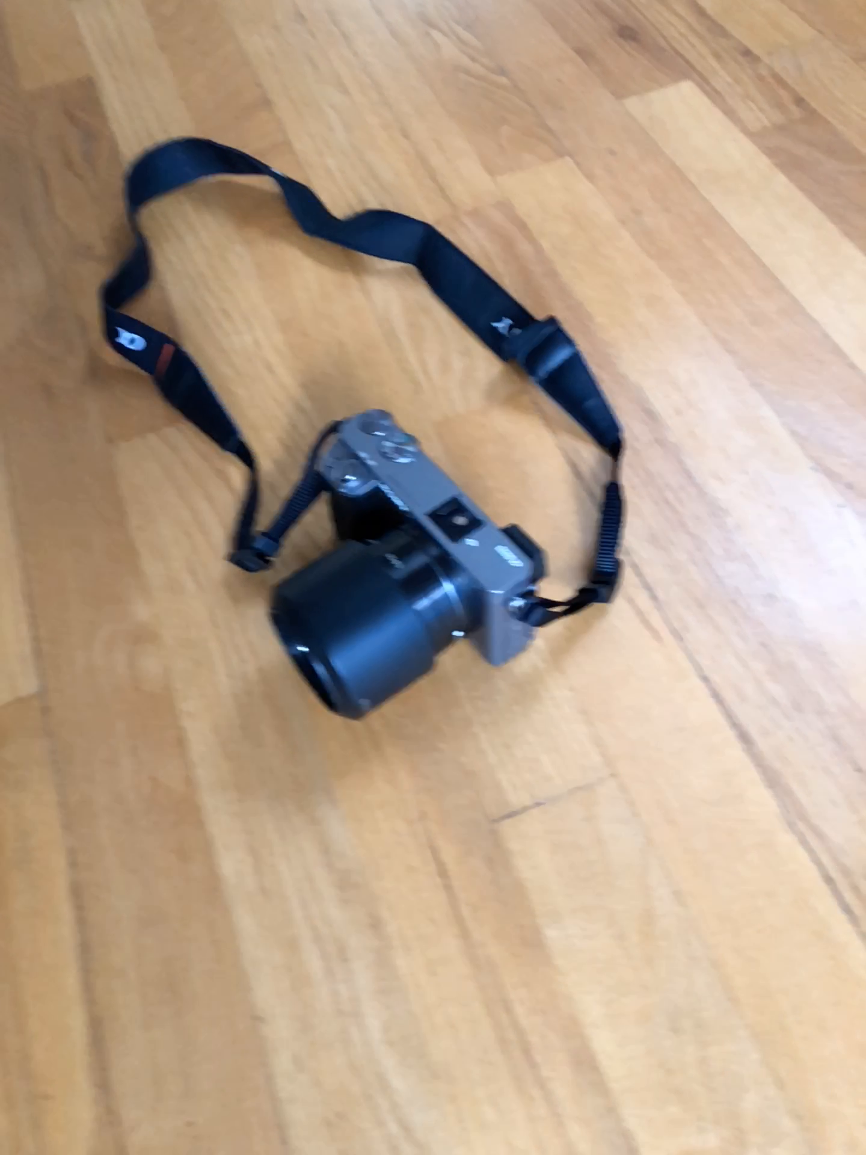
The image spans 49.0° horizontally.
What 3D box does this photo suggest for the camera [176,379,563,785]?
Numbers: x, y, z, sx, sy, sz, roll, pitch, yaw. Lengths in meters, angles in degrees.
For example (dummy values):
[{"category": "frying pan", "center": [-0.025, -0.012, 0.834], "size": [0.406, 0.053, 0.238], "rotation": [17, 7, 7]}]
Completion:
[{"category": "camera", "center": [-0.028, -0.002, 0.439], "size": [0.107, 0.079, 0.136], "rotation": [-34, 60, -18]}]
